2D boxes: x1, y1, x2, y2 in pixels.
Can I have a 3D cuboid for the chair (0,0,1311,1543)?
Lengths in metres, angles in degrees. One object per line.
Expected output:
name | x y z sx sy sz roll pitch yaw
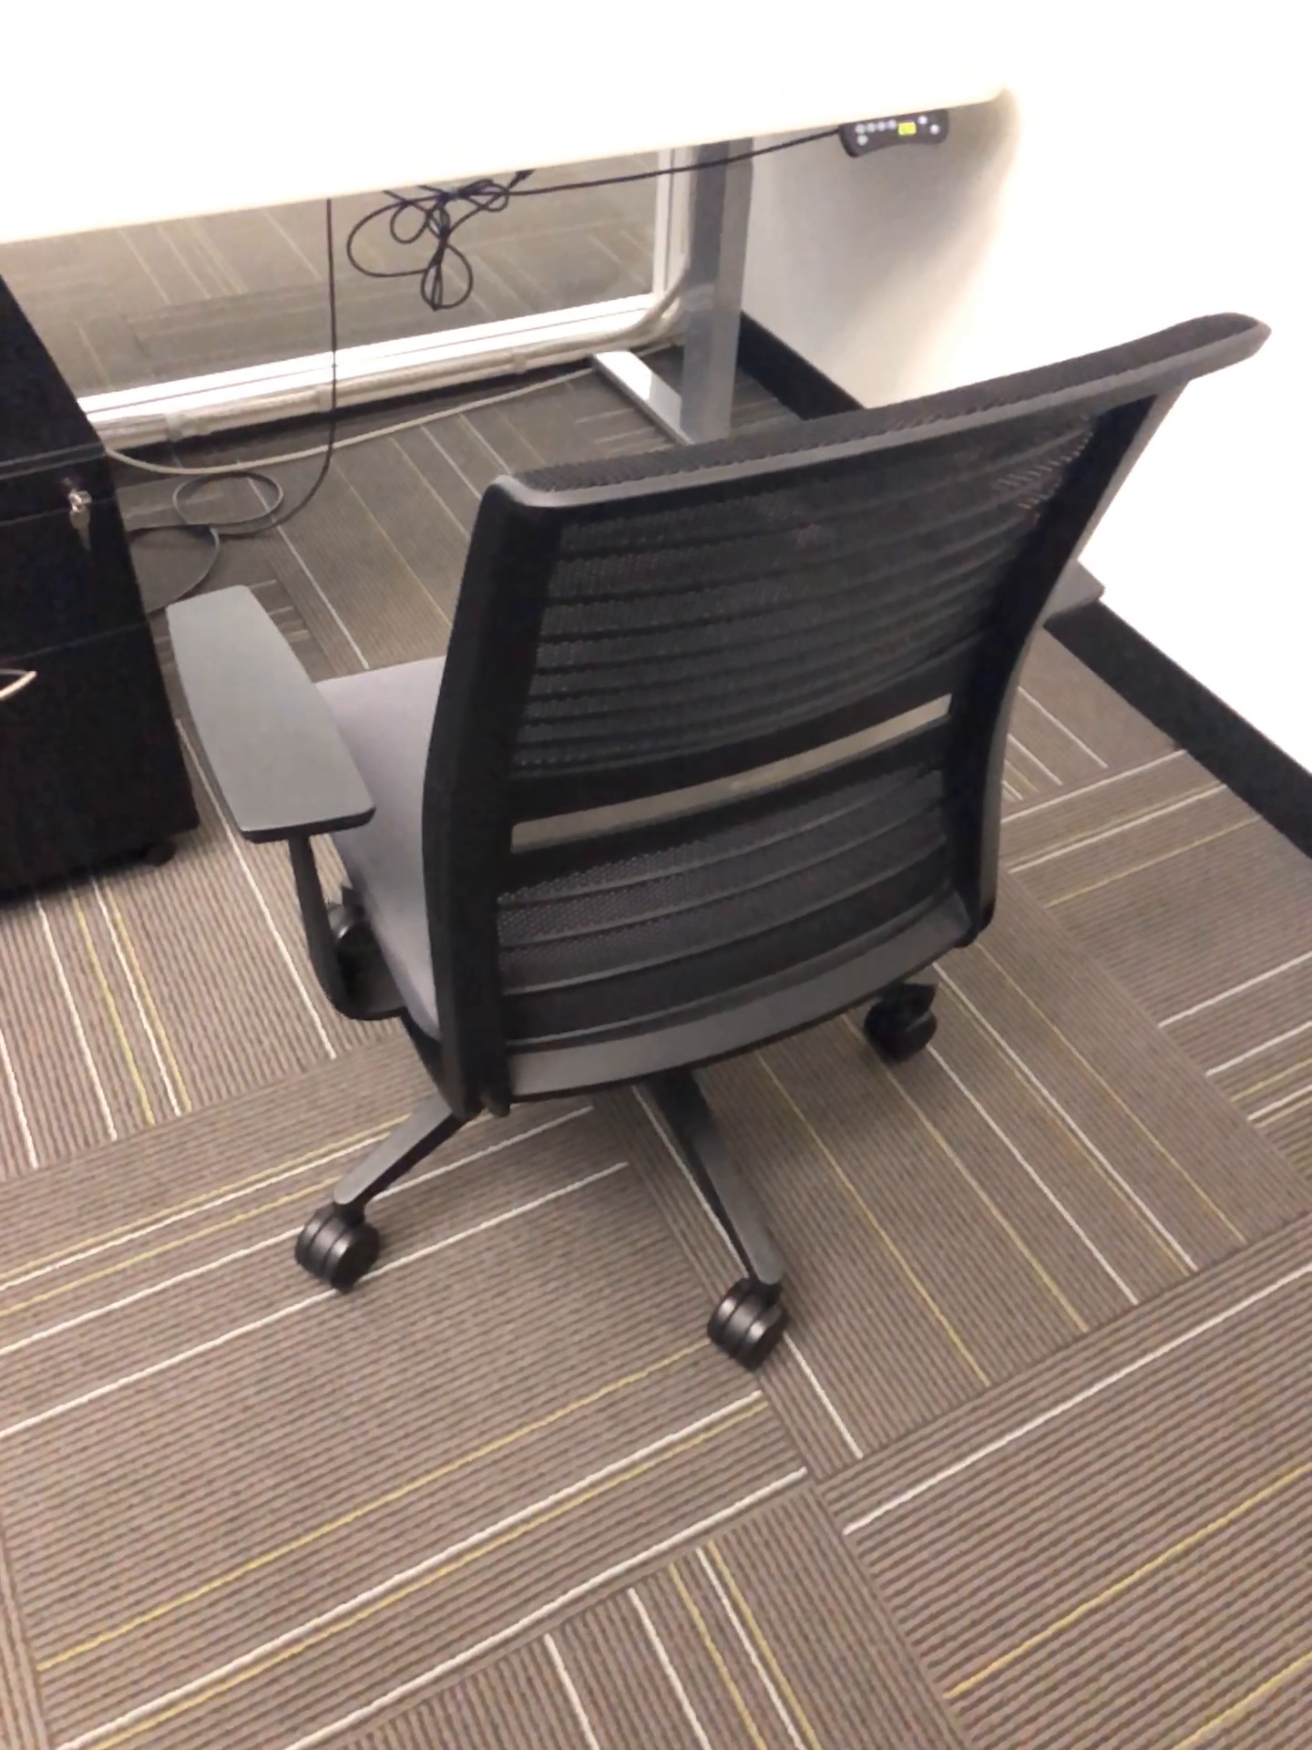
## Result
chair | -0.040 -0.128 1.159 0.721 0.906 0.682 -20 49 -22
